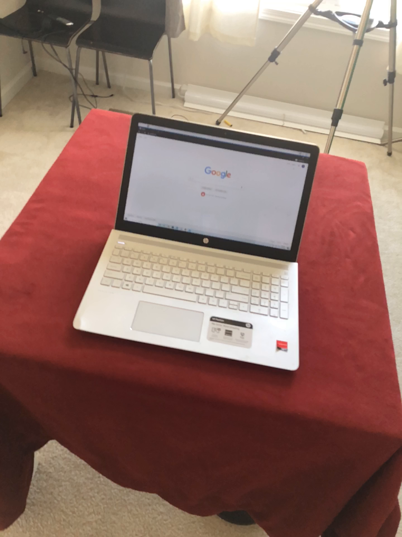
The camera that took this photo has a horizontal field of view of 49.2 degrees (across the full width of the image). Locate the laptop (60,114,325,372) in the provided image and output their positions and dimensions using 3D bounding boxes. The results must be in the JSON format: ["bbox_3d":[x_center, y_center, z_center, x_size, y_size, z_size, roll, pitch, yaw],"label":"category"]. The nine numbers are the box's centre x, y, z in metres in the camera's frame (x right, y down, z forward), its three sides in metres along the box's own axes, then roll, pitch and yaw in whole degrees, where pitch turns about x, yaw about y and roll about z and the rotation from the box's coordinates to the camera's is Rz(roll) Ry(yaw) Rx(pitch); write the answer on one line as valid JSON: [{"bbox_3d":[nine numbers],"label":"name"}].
[{"bbox_3d":[0.010,-0.066,0.776,0.360,0.158,0.397,11,48,1],"label":"laptop"}]
